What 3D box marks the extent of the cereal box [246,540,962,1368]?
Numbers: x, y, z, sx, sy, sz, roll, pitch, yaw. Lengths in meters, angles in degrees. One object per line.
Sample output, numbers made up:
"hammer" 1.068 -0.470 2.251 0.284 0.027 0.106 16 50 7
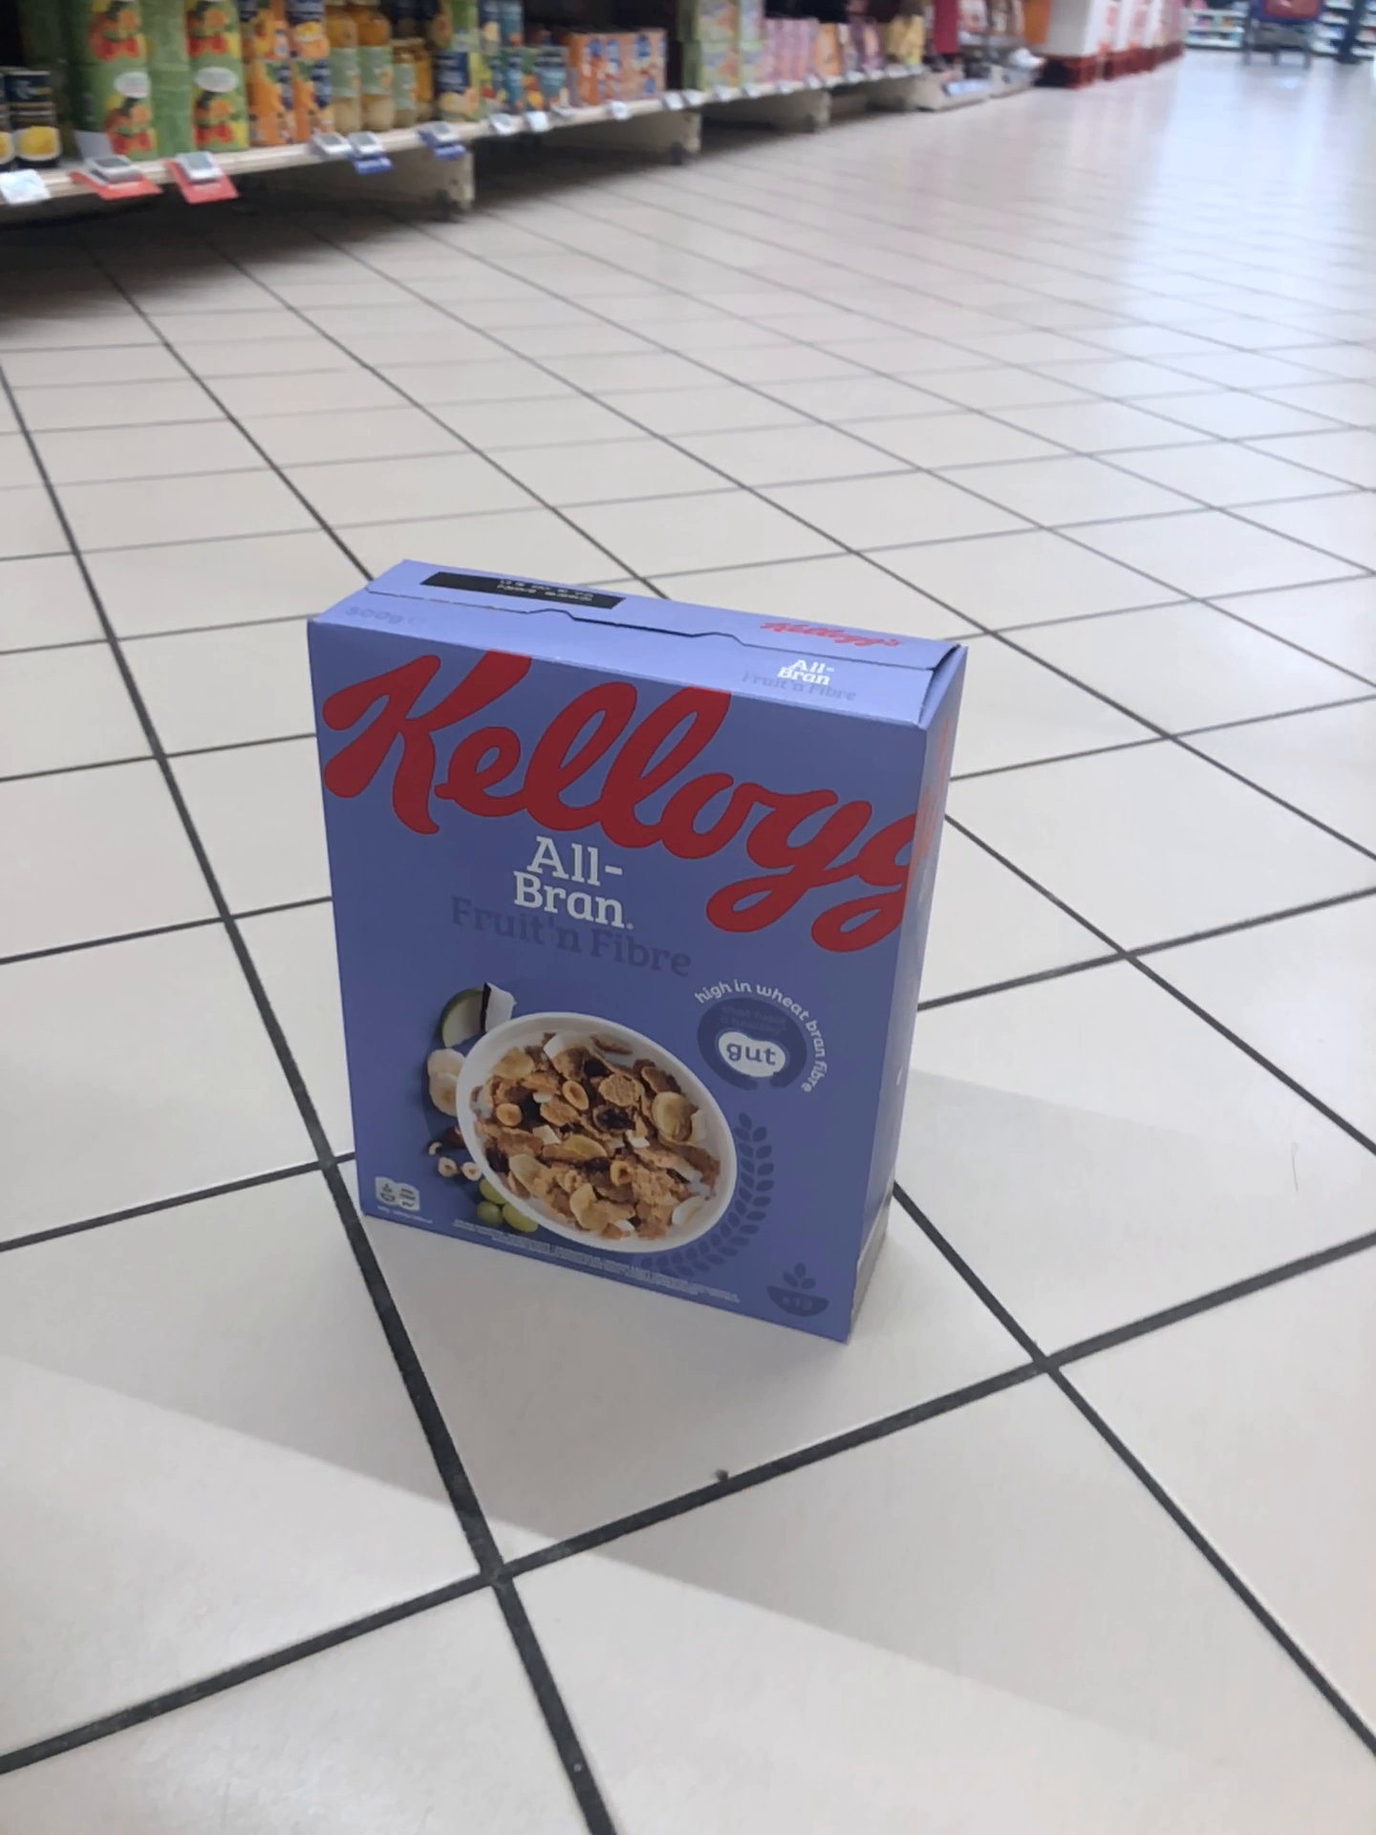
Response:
"cereal box" -0.029 0.014 0.509 0.200 0.239 0.070 12 32 15
